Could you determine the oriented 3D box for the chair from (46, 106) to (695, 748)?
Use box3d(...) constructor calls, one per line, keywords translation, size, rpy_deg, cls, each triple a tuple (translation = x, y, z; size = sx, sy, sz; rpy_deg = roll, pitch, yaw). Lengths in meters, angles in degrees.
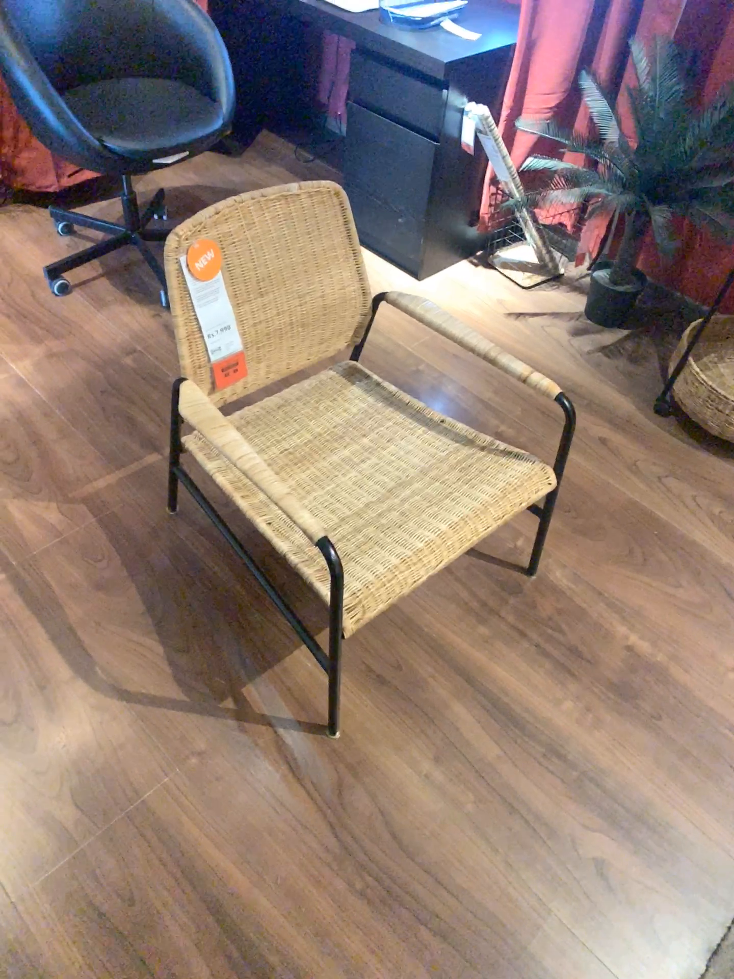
box3d(translation=(-0.027, -0.162, 1.487), size=(0.711, 0.757, 0.791), rpy_deg=(-32, 58, -31), cls="chair")
